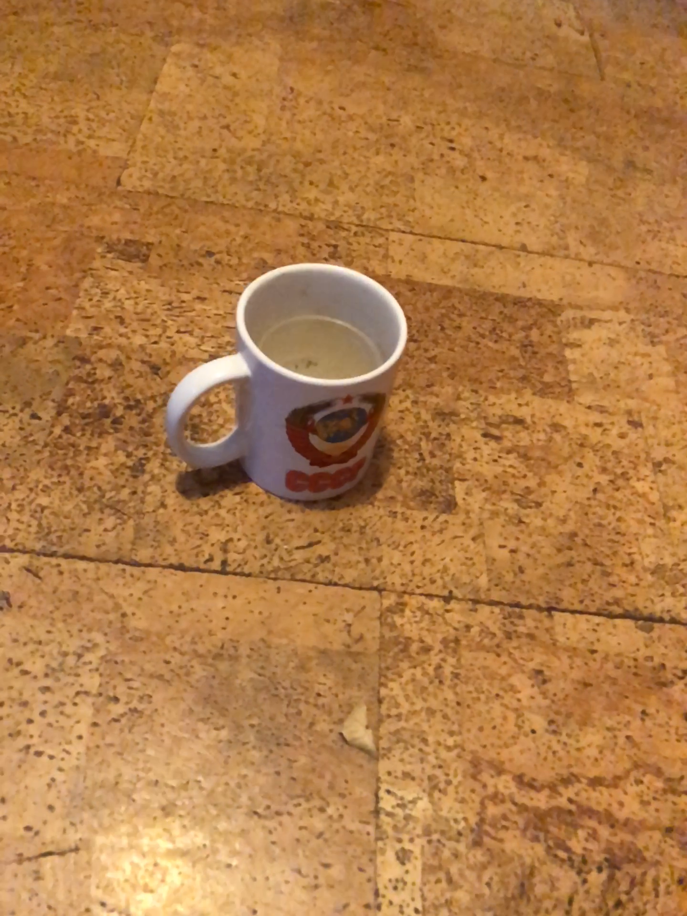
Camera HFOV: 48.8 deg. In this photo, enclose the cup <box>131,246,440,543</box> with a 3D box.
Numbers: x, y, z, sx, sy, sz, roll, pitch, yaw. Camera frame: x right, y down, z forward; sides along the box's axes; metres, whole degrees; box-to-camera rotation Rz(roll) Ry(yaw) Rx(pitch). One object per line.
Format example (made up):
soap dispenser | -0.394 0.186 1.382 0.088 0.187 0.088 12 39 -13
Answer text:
cup | -0.033 -0.032 0.383 0.119 0.099 0.083 -14 58 -19
